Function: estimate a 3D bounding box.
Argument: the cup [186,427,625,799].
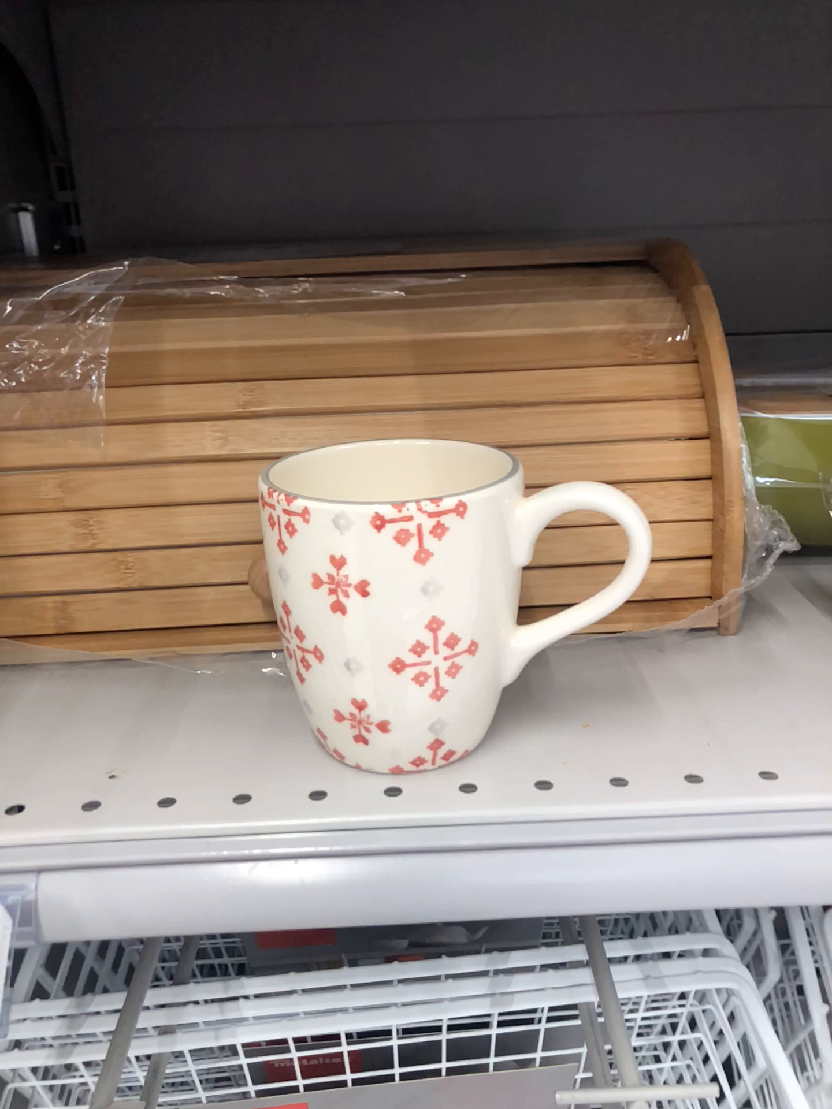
[{"bbox_3d":[0.005,0.012,0.314,0.124,0.089,0.090,3,21,13],"label":"cup"}]
